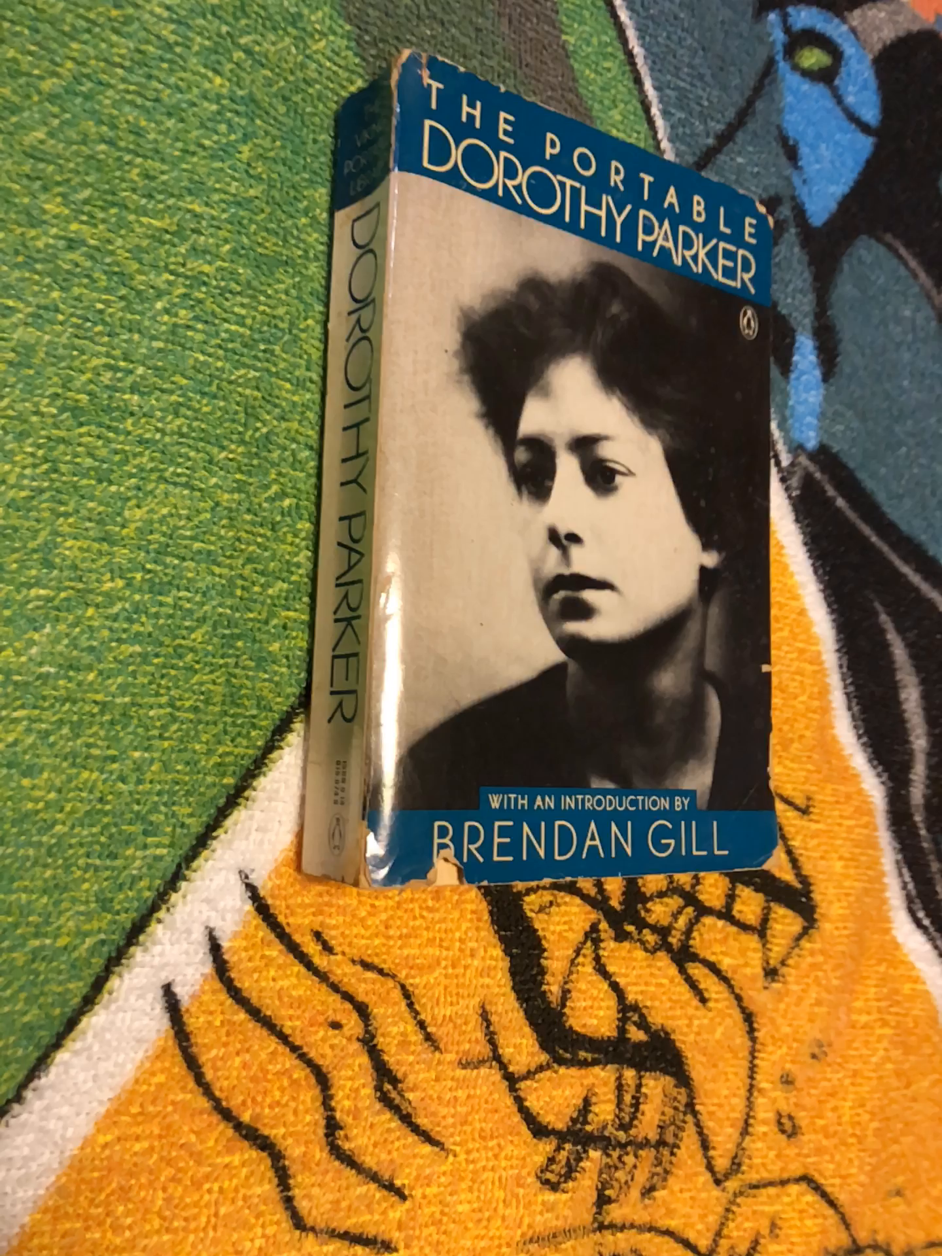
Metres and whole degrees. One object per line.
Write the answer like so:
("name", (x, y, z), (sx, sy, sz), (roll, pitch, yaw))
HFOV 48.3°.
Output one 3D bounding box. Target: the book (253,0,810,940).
("book", (0.024, -0.034, 0.263), (0.141, 0.040, 0.200), (6, 83, -36))
